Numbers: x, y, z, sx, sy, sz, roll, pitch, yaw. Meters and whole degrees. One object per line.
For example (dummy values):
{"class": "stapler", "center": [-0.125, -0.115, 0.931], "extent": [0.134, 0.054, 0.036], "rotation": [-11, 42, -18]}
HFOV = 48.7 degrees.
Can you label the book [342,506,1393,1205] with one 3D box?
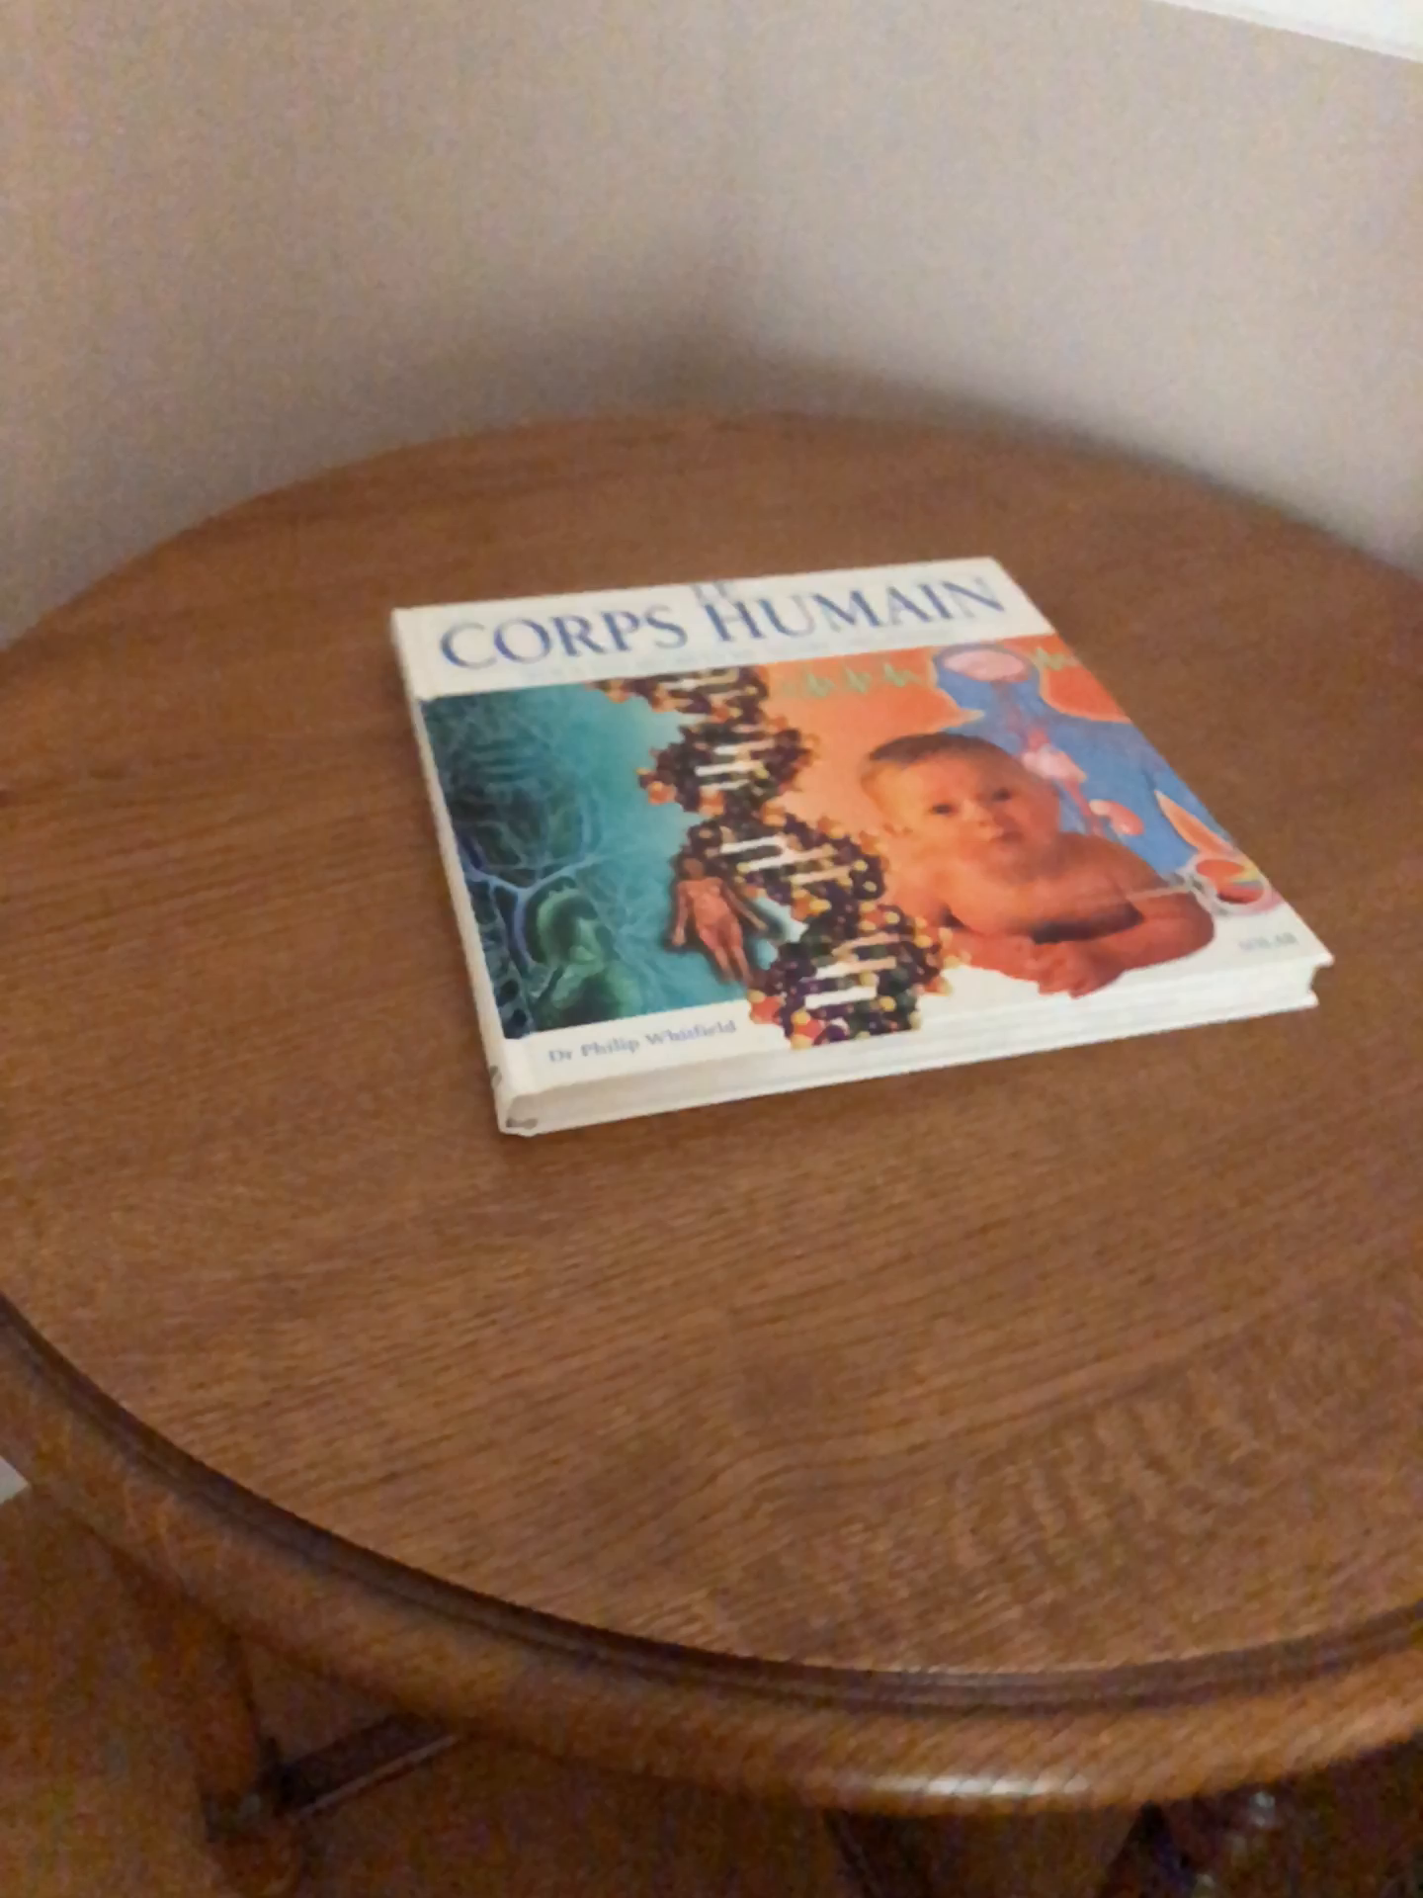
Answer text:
{"class": "book", "center": [0.027, -0.060, 0.542], "extent": [0.270, 0.040, 0.291], "rotation": [-9, 42, -14]}
